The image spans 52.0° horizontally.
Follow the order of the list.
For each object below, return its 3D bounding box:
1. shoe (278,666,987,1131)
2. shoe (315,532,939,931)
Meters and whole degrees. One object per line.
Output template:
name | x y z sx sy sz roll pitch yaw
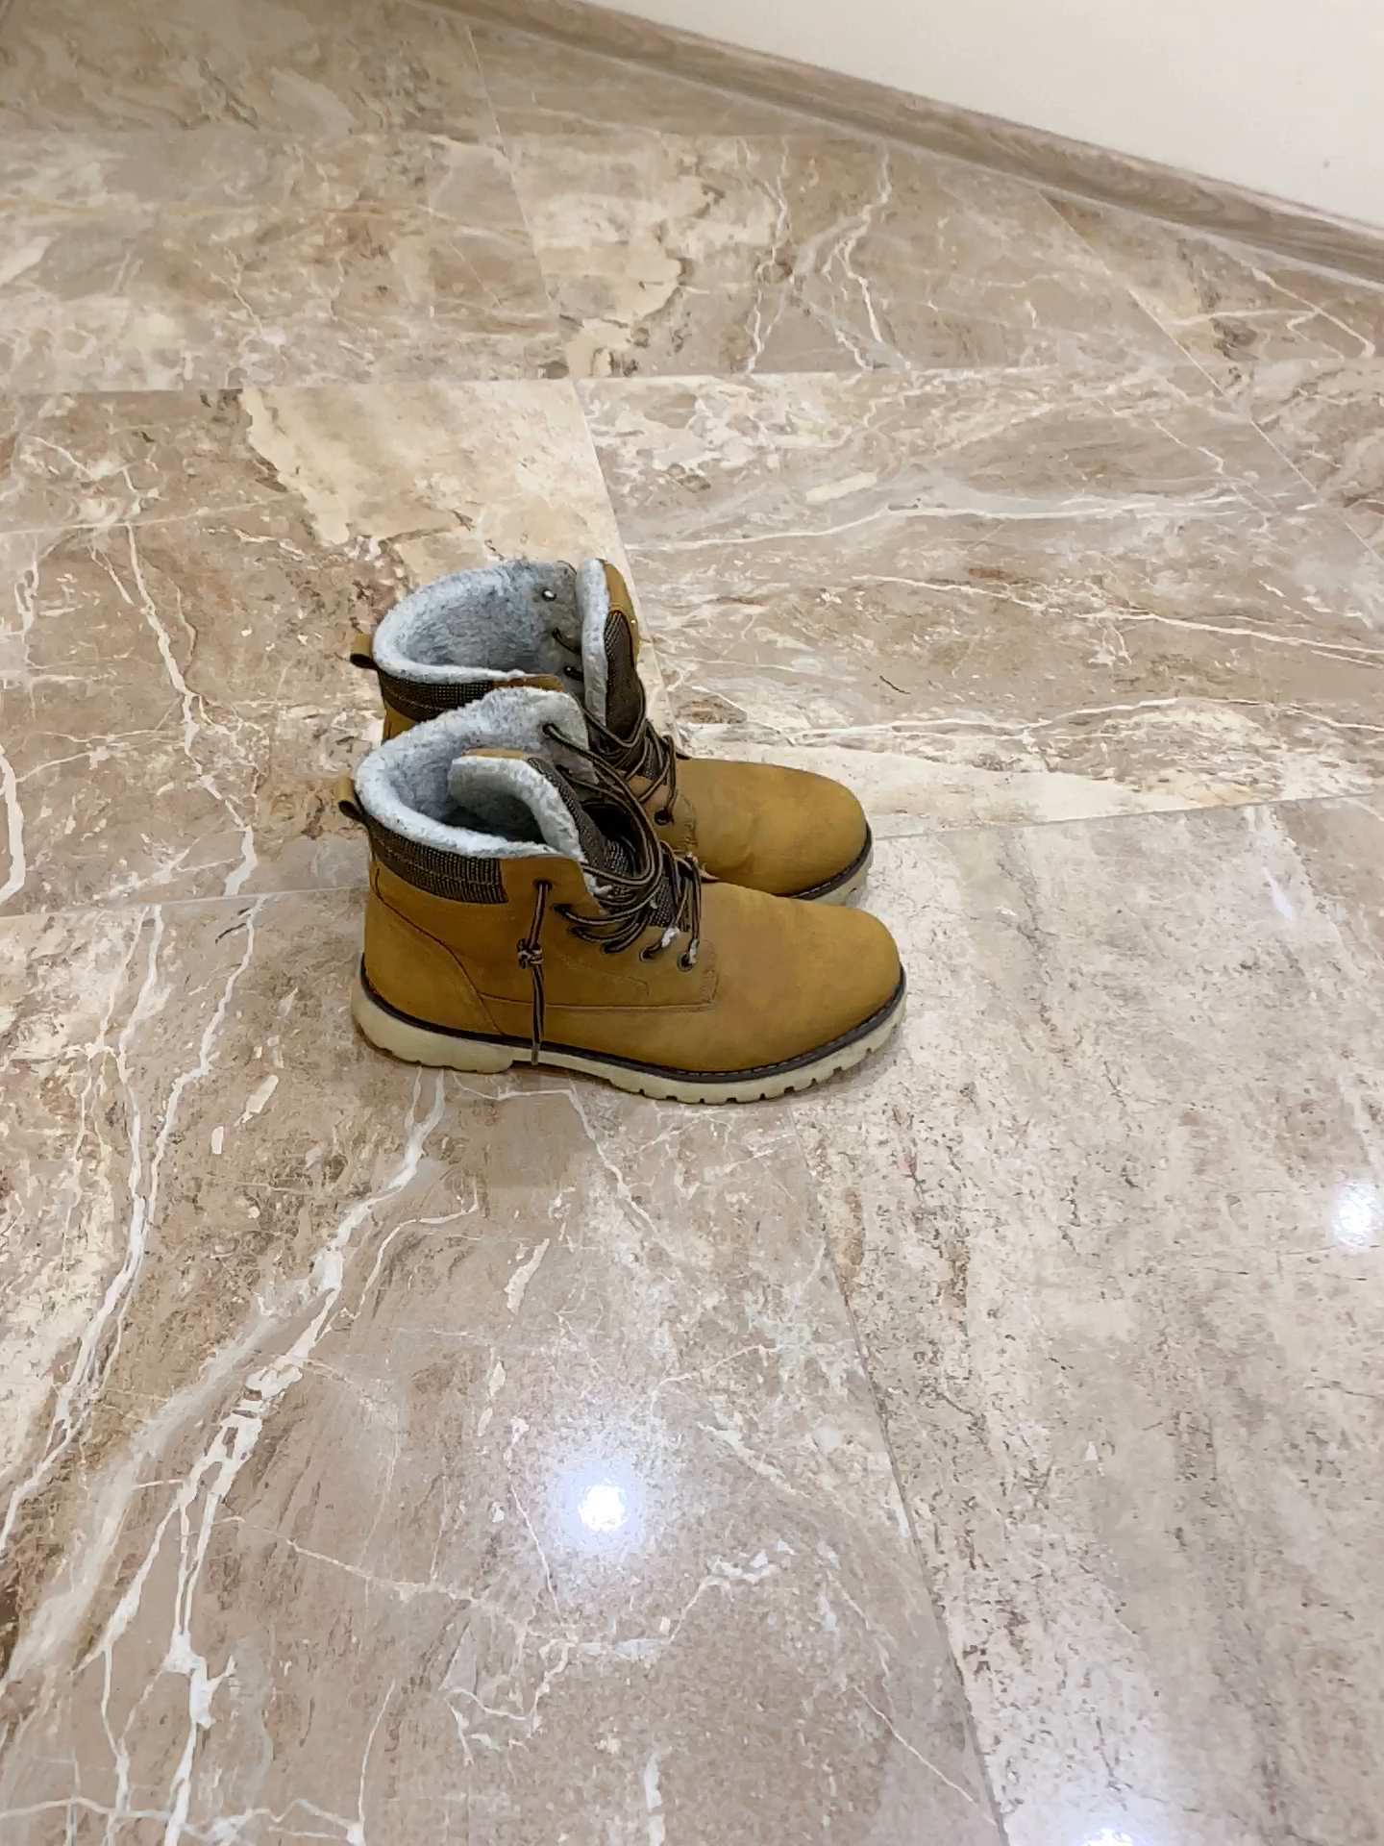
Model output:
shoe | -0.027 -0.008 0.658 0.280 0.159 0.121 4 46 -2
shoe | -0.032 -0.096 0.728 0.280 0.139 0.121 4 46 -2
